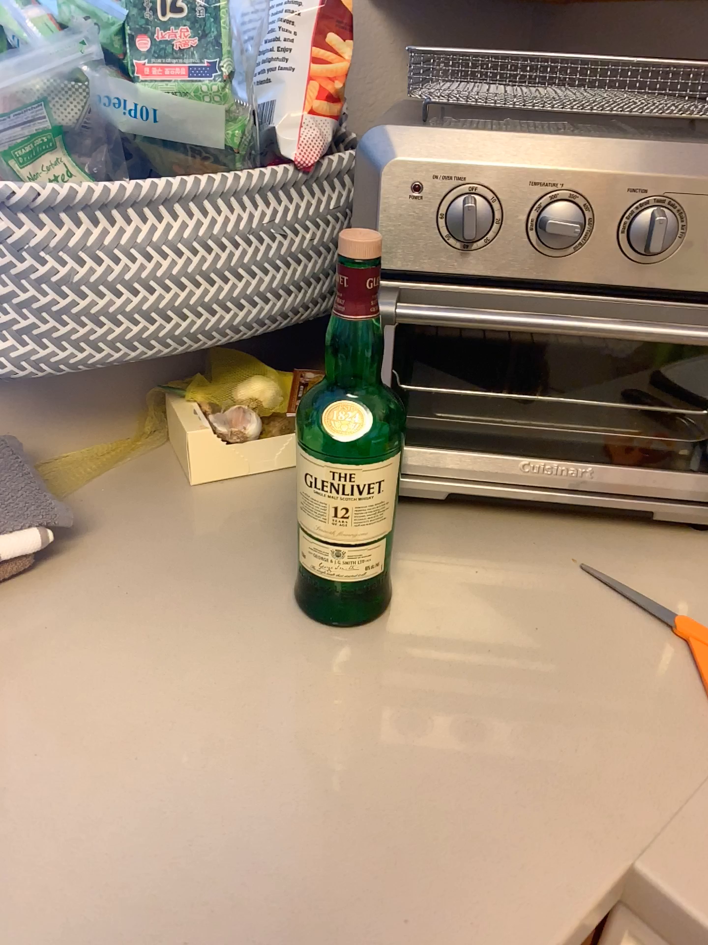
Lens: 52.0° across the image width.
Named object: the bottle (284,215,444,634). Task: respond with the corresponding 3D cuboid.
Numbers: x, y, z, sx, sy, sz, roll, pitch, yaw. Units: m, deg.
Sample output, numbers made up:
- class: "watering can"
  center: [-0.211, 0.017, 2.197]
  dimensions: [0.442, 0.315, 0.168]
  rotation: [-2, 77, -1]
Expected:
- class: "bottle"
  center: [0.003, -0.026, 0.514]
  dimensions: [0.090, 0.278, 0.091]
  rotation: [2, 30, -1]
